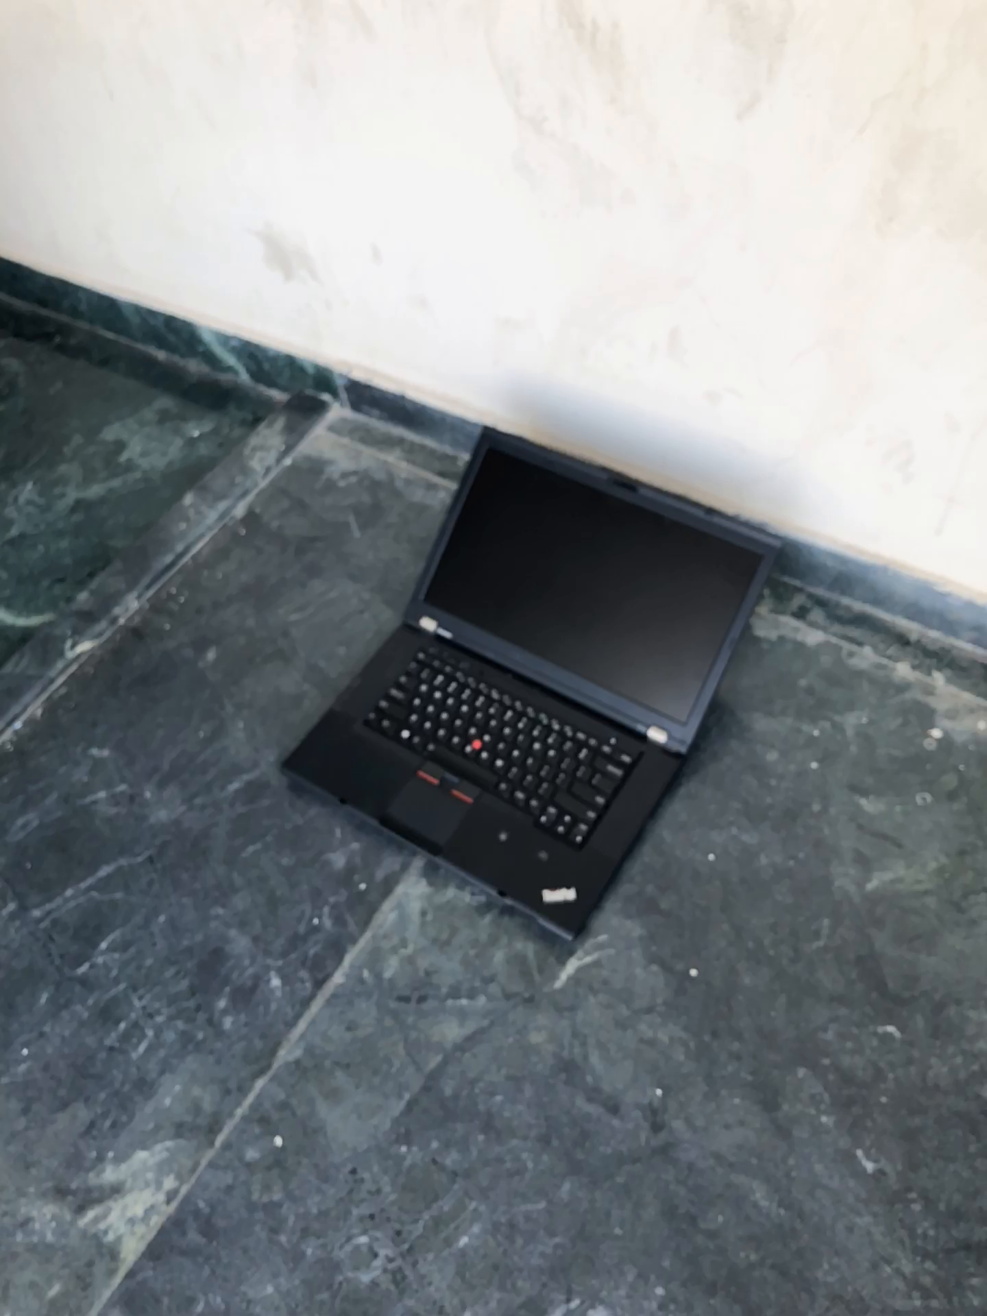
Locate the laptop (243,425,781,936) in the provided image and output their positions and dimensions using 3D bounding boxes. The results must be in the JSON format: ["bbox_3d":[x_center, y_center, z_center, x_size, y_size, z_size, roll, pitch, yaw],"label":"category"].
[{"bbox_3d":[0.028,-0.002,0.995,0.311,0.115,0.376,26,61,22],"label":"laptop"}]
